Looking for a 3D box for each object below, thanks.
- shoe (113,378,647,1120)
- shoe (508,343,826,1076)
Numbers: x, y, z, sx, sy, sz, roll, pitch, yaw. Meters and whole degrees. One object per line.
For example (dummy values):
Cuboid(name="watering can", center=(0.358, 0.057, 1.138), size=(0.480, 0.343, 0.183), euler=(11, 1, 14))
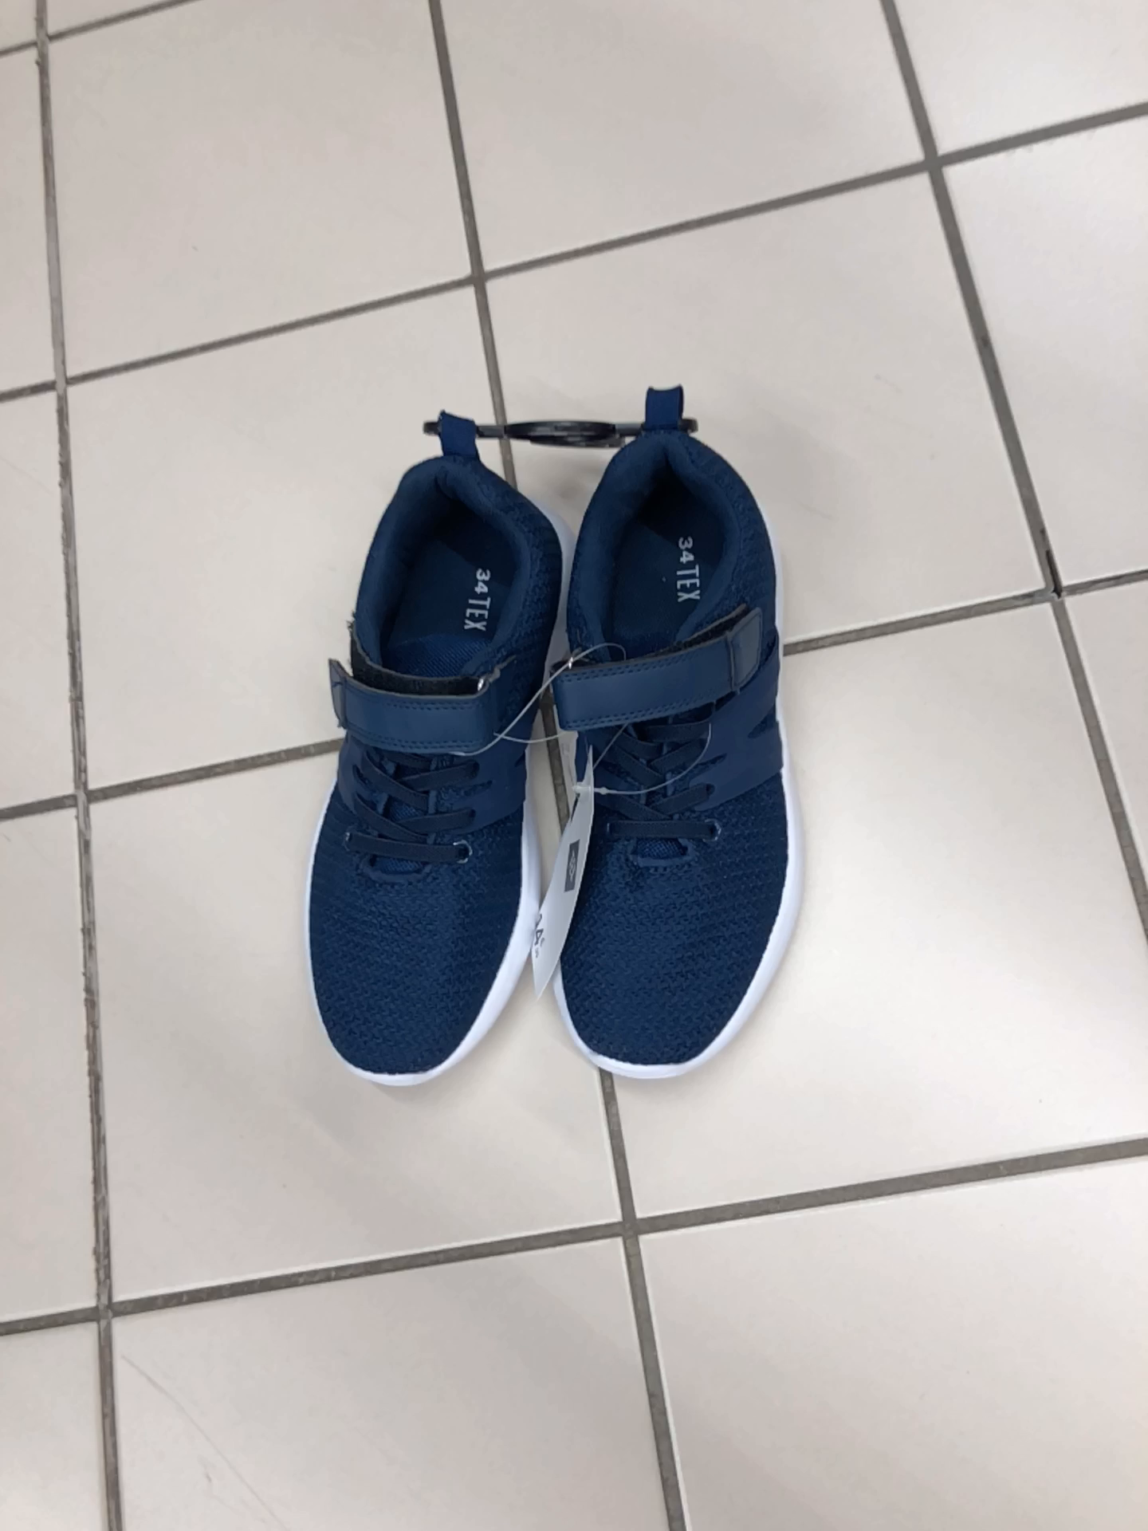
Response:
Cuboid(name="shoe", center=(-0.059, -0.004, 0.459), size=(0.102, 0.094, 0.236), euler=(13, 78, 13))
Cuboid(name="shoe", center=(0.035, -0.013, 0.445), size=(0.093, 0.095, 0.238), euler=(-2, 75, 9))
